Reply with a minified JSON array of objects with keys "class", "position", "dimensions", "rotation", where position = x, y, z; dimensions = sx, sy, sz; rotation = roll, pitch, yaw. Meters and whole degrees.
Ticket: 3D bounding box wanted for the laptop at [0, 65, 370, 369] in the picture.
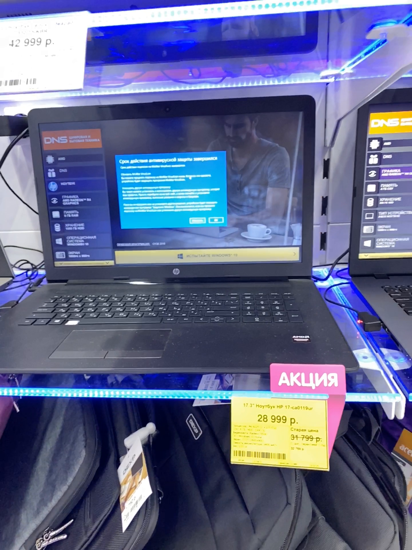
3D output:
[{"class":"laptop","position":[-0.069,-0.078,0.516],"dimensions":[0.419,0.260,0.295],"rotation":[-1,17,4]}]
